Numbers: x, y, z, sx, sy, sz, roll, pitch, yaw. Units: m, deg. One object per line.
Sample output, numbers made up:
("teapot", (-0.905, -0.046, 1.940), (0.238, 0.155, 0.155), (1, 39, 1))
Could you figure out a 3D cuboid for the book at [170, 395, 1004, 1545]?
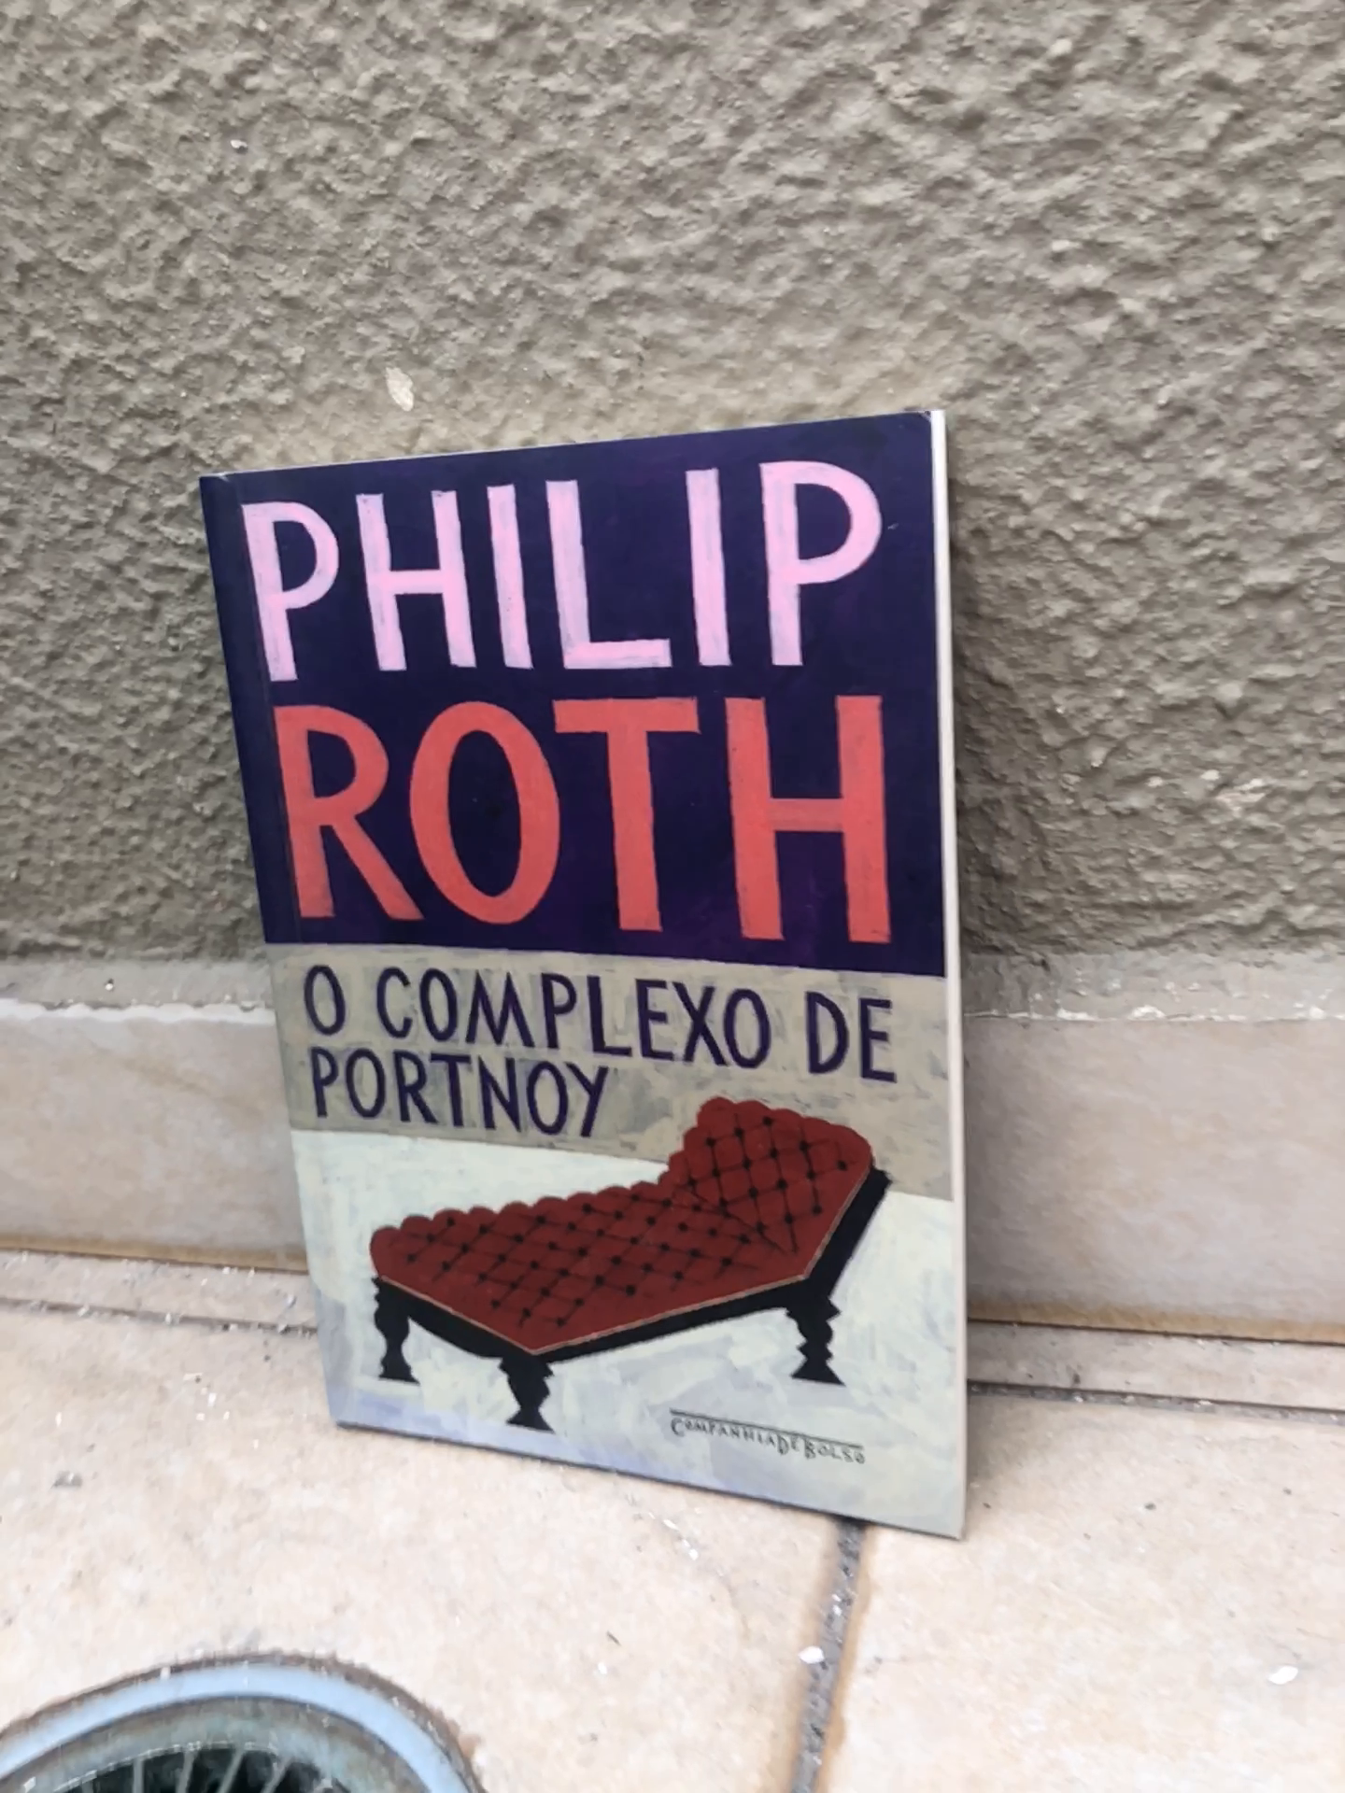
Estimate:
("book", (-0.012, 0.015, 0.255), (0.126, 0.179, 0.023), (1, 16, 22))
